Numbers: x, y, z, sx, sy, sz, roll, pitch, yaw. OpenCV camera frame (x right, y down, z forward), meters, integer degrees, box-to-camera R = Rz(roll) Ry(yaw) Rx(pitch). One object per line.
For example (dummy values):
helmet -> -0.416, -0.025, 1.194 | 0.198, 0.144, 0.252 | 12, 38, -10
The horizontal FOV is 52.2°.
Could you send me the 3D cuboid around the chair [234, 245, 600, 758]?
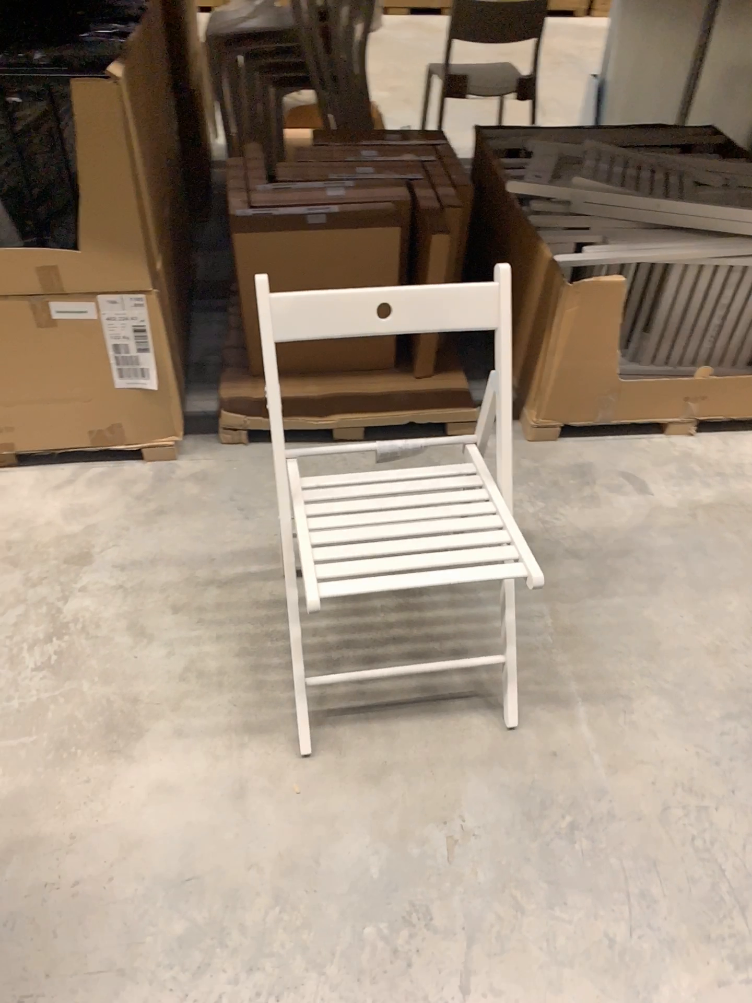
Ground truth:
chair -> 0.013, 0.013, 1.306 | 0.430, 0.707, 0.472 | -5, 43, -7
